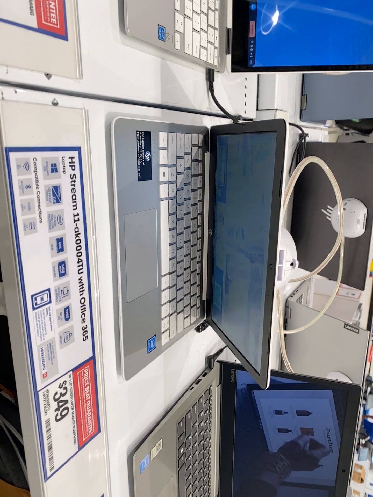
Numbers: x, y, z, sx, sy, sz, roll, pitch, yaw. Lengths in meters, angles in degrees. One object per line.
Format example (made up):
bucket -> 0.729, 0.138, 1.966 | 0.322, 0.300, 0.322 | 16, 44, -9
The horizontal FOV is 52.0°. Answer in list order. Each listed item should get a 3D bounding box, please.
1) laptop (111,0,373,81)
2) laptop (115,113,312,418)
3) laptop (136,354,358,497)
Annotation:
laptop -> 0.099, -0.341, 0.396 | 0.298, 0.189, 0.257 | -25, 118, -57
laptop -> 0.040, -0.002, 0.441 | 0.182, 0.138, 0.277 | -22, 116, -56
laptop -> 0.106, 0.390, 0.571 | 0.277, 0.211, 0.326 | -26, 119, -55
